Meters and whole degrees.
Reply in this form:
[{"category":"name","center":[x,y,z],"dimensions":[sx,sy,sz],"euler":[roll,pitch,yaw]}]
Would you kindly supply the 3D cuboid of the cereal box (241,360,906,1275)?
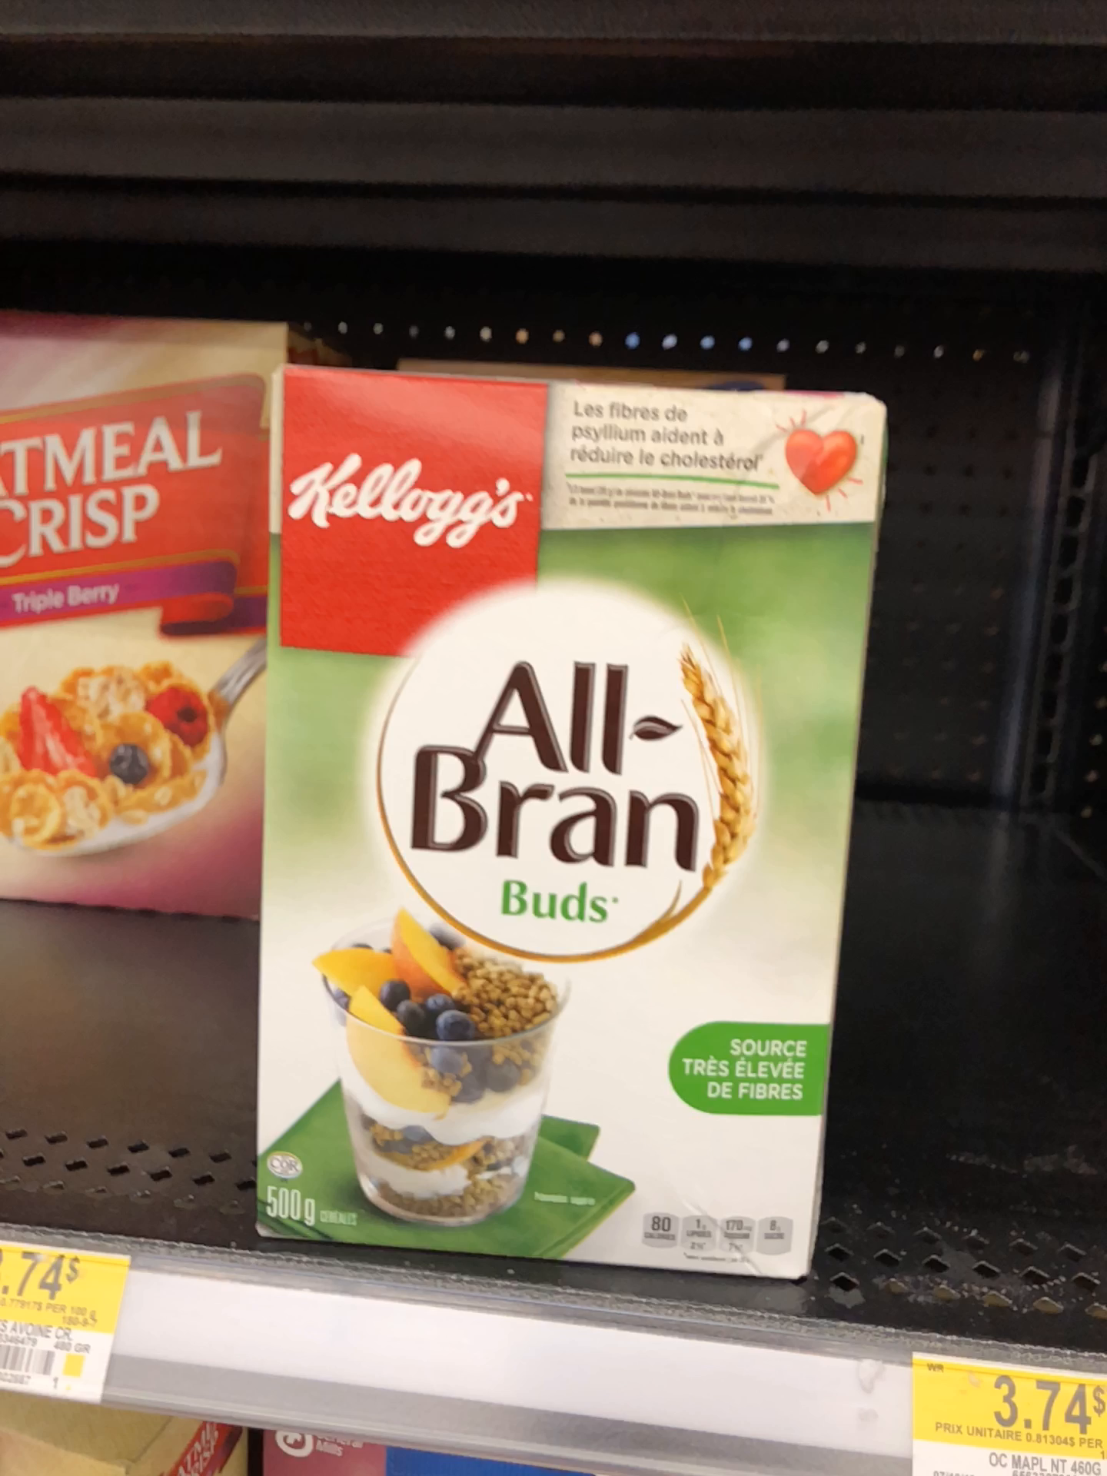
[{"category":"cereal box","center":[0.000,0.020,0.324],"dimensions":[0.150,0.219,0.050],"euler":[3,11,3]}]
